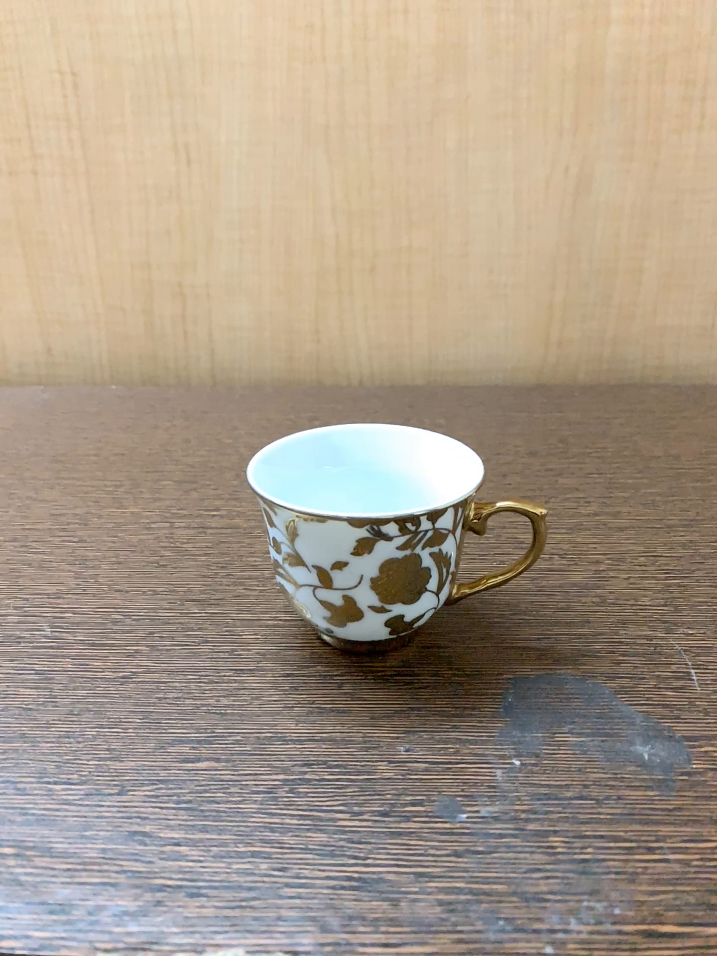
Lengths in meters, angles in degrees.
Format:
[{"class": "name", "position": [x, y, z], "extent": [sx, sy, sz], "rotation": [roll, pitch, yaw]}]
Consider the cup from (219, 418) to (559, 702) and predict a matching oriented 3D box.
[{"class": "cup", "position": [0.011, 0.019, 0.217], "extent": [0.080, 0.050, 0.071], "rotation": [2, 23, 7]}]

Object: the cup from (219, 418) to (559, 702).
[{"class": "cup", "position": [0.011, 0.019, 0.217], "extent": [0.080, 0.050, 0.071], "rotation": [2, 23, 7]}]
